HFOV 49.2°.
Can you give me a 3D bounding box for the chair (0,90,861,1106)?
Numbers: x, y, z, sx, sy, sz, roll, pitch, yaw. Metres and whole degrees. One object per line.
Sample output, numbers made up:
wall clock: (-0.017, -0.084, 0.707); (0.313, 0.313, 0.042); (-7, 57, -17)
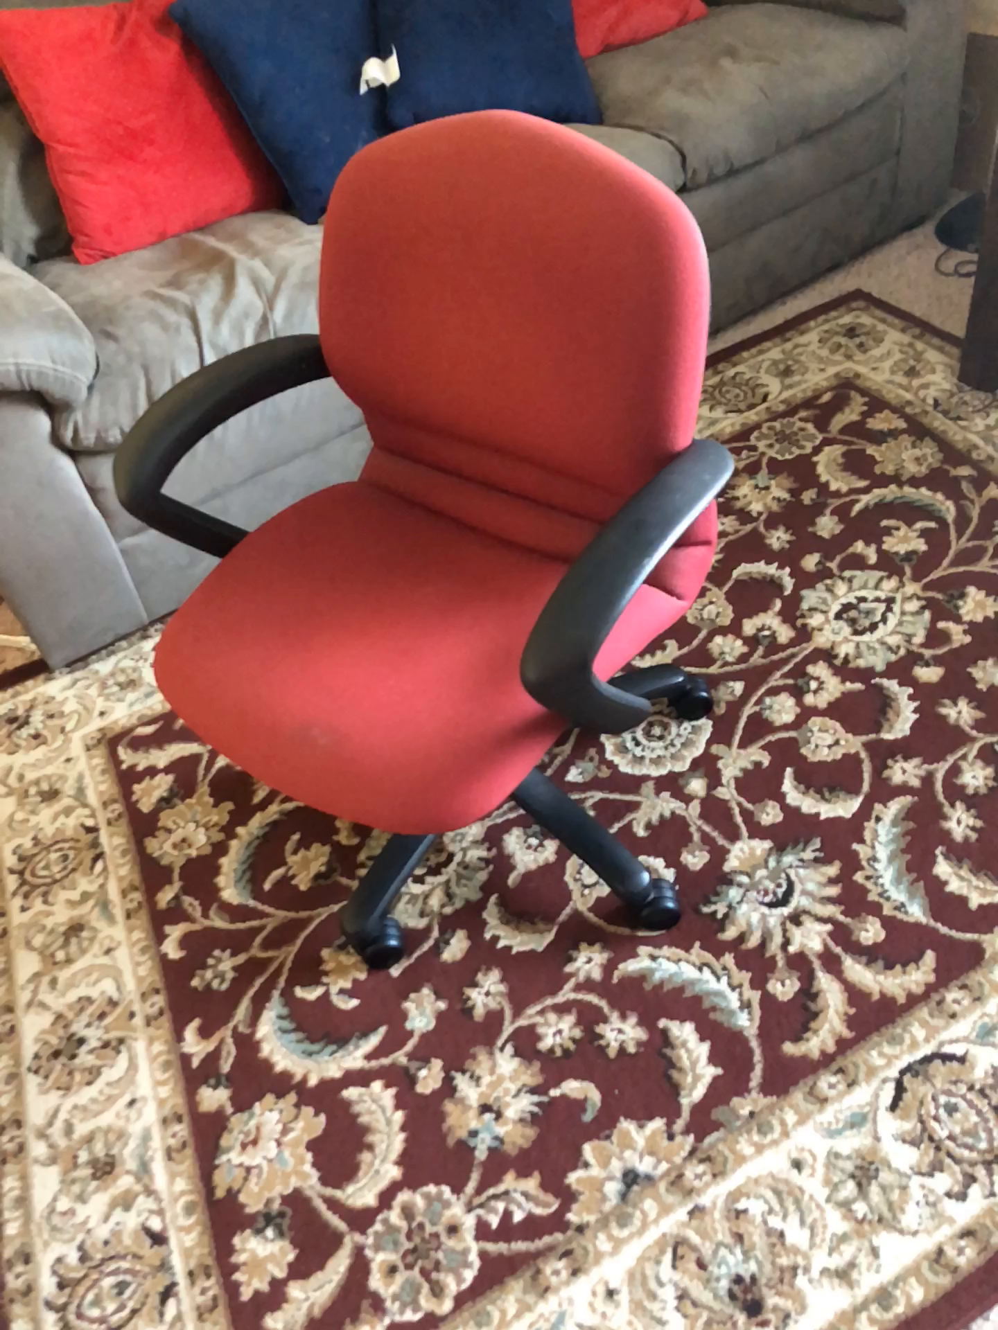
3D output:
chair: (-0.076, -0.107, 1.201); (0.651, 0.729, 0.620); (25, 56, 33)
